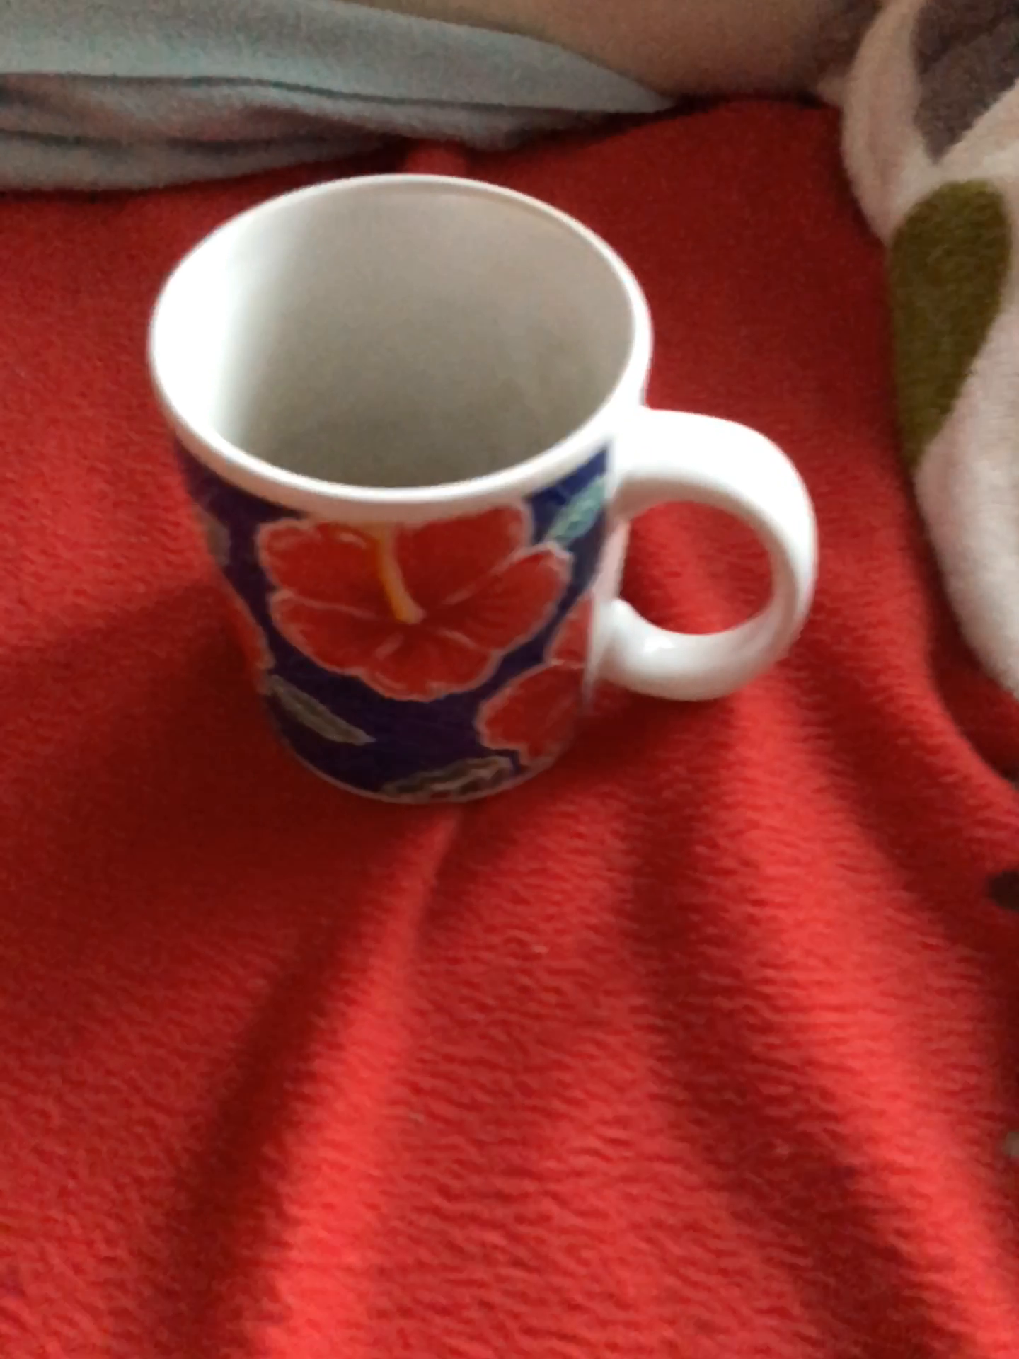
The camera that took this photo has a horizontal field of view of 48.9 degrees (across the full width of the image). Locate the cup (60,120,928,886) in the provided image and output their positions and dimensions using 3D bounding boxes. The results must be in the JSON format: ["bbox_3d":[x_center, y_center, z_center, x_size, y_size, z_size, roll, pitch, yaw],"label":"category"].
[{"bbox_3d":[0.000,-0.030,0.220,0.120,0.100,0.090,8,54,1],"label":"cup"}]
